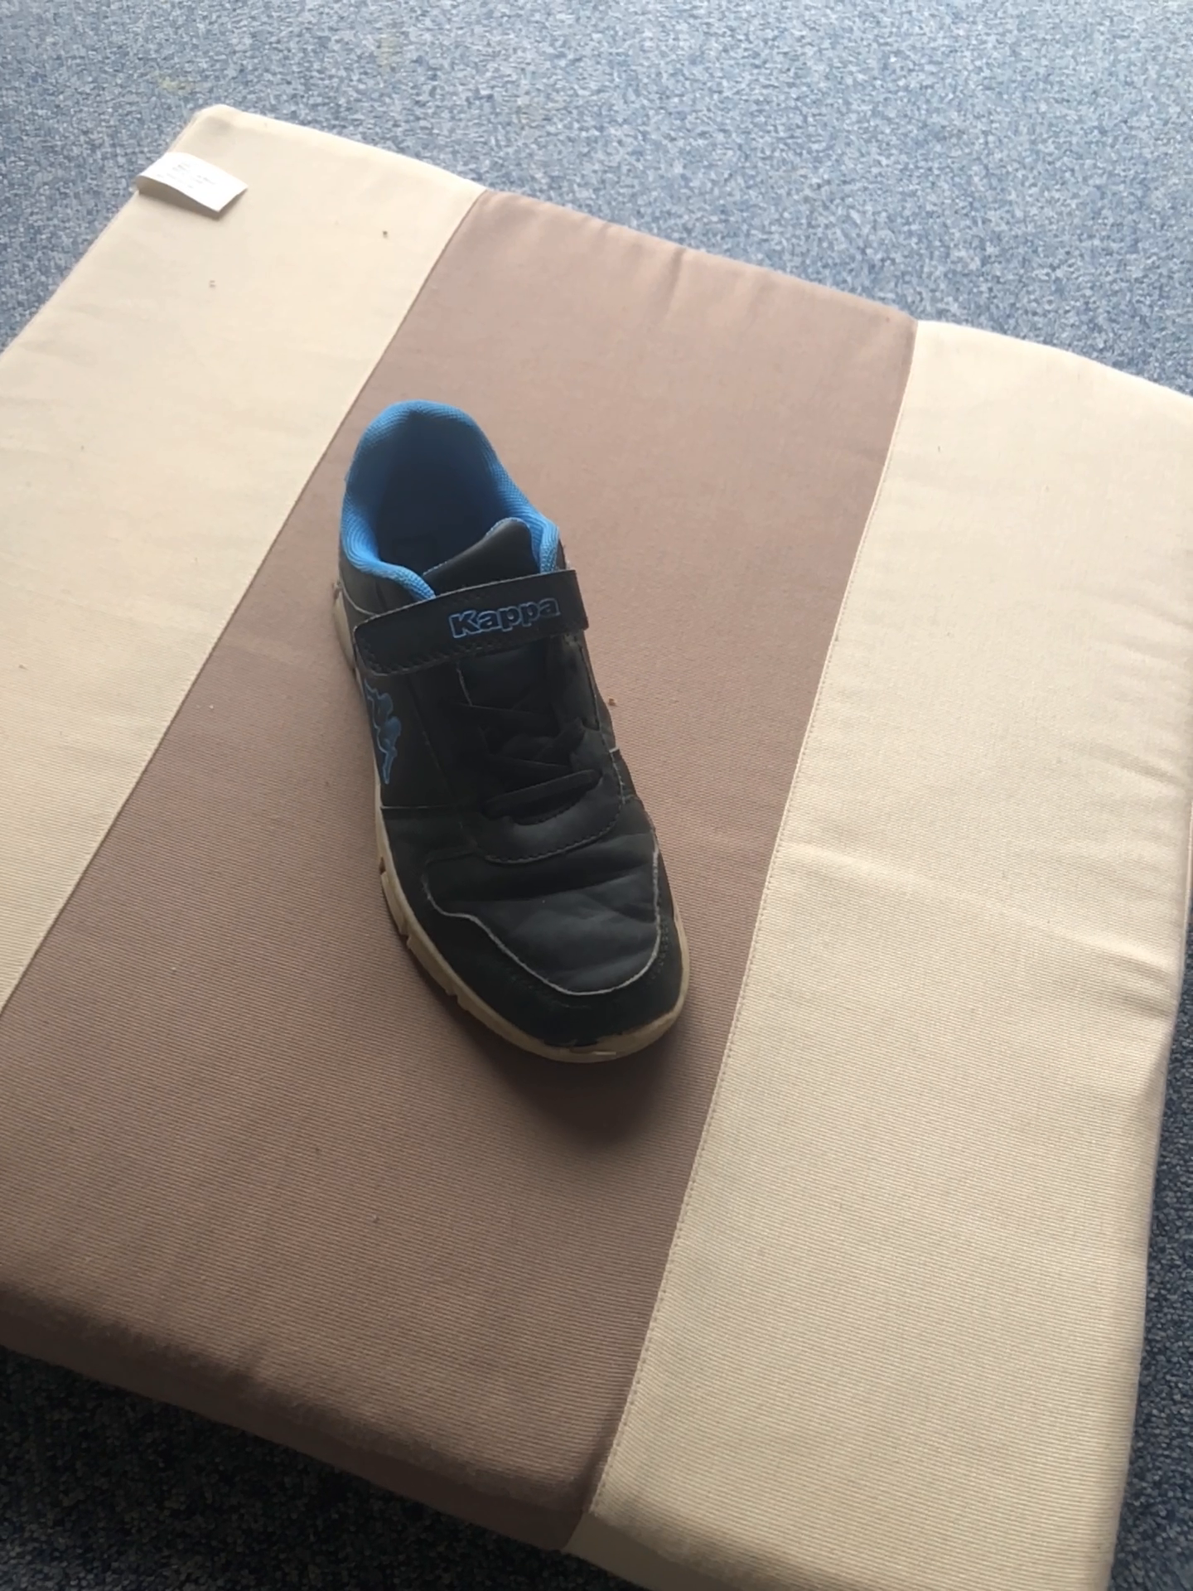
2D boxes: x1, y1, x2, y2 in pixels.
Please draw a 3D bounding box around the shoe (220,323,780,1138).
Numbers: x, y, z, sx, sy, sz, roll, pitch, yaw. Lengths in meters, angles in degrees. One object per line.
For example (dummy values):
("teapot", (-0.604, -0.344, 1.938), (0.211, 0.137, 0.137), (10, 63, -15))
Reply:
("shoe", (-0.041, -0.029, 0.431), (0.100, 0.090, 0.240), (-15, 63, -14))
